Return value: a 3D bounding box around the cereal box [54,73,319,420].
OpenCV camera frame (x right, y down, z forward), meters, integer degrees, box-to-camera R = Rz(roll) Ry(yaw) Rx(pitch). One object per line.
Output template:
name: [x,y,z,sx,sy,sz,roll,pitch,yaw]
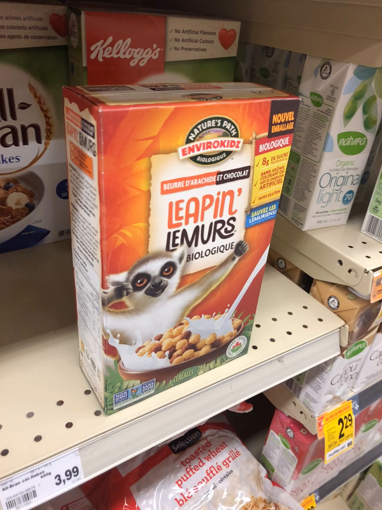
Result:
cereal box: [-0.009,-0.007,0.353,0.170,0.258,0.070,-15,37,-30]
